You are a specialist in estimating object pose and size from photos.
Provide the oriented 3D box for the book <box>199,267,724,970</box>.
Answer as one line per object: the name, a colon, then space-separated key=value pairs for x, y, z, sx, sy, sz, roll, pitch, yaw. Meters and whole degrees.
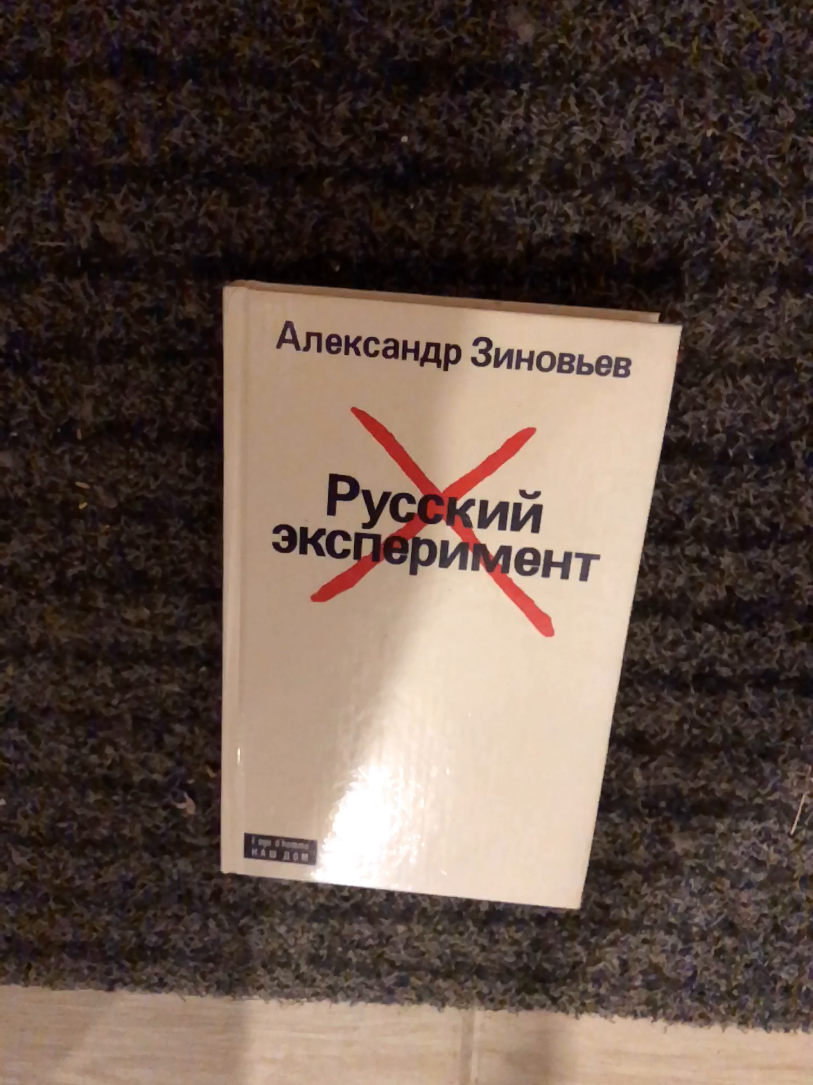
book: x=0.006 y=0.026 z=0.259 sx=0.120 sy=0.040 sz=0.190 roll=6 pitch=110 yaw=2
